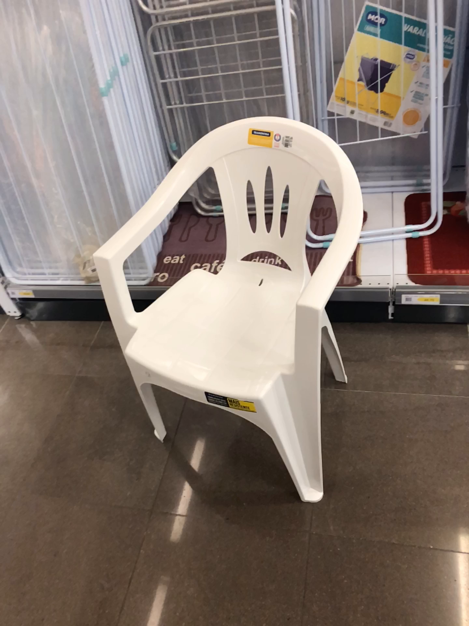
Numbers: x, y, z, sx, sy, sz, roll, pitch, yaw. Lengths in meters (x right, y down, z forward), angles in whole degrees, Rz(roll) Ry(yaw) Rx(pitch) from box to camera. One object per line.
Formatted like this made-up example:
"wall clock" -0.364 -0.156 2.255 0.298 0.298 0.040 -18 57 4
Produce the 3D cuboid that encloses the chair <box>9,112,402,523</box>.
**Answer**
"chair" 0.030 -0.013 1.272 0.601 0.705 0.603 11 50 25
